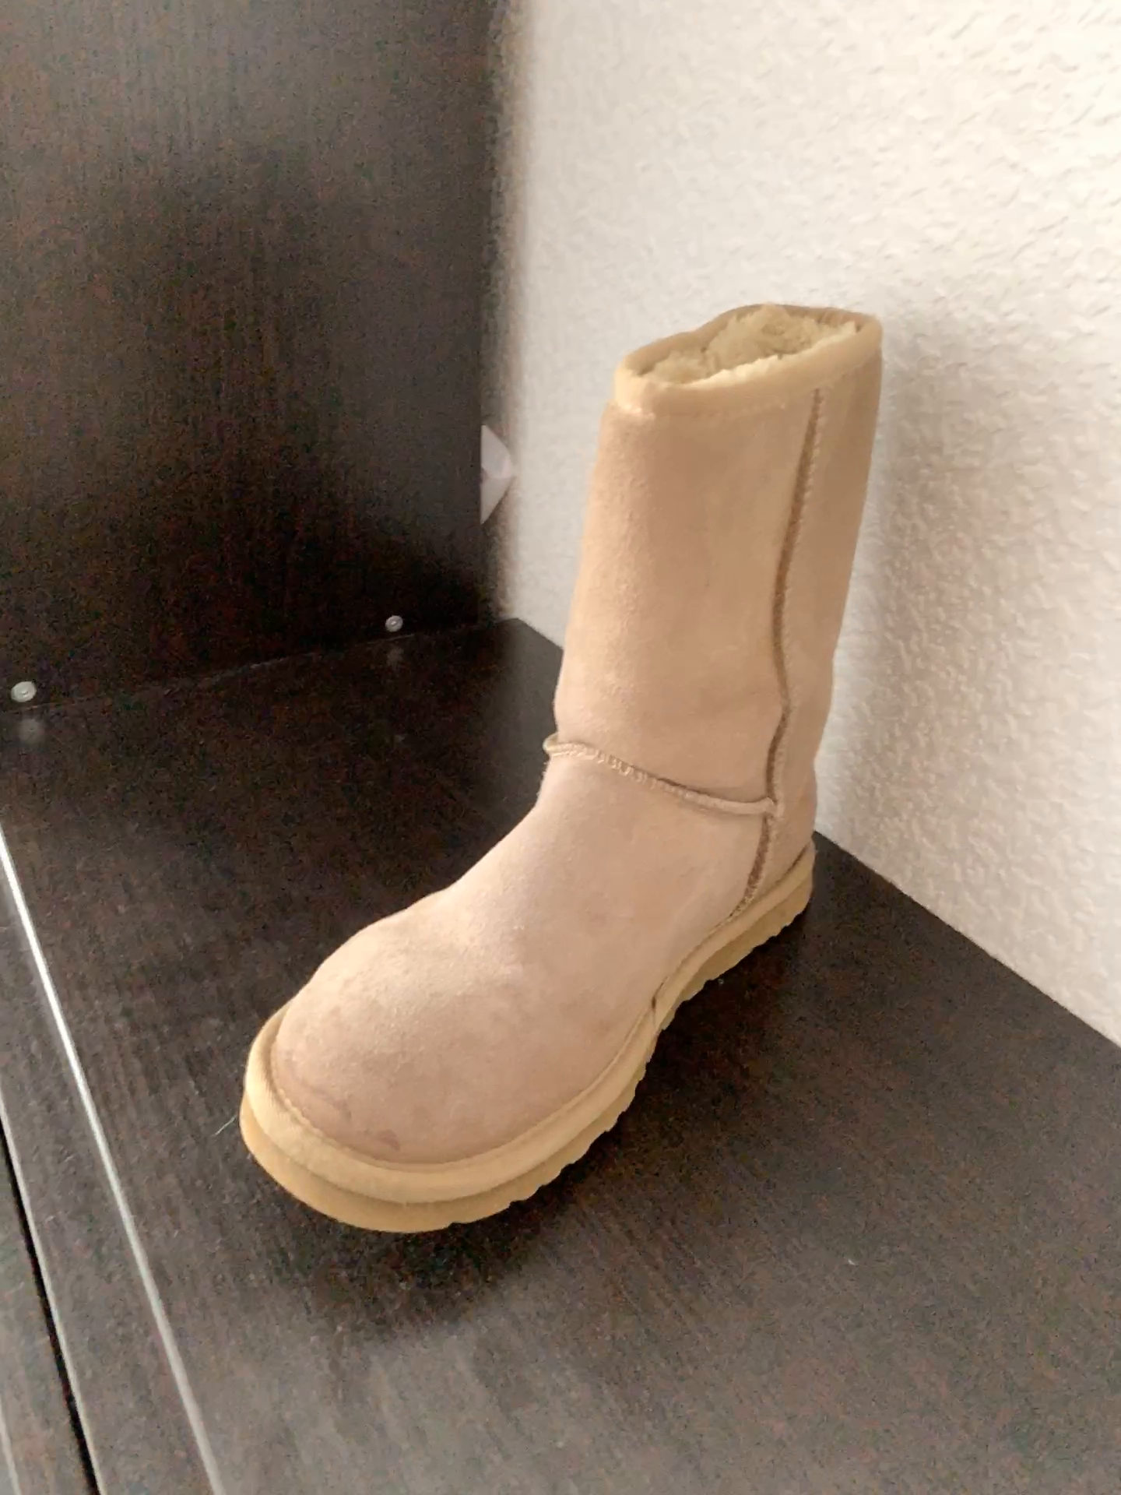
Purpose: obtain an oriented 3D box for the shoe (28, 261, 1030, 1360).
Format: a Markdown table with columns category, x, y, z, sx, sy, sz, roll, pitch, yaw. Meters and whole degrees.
| category | x | y | z | sx | sy | sz | roll | pitch | yaw |
| --- | --- | --- | --- | --- | --- | --- | --- | --- | --- |
| shoe | 0.011 | -0.012 | 0.355 | 0.116 | 0.229 | 0.261 | 24 | 36 | 34 |
